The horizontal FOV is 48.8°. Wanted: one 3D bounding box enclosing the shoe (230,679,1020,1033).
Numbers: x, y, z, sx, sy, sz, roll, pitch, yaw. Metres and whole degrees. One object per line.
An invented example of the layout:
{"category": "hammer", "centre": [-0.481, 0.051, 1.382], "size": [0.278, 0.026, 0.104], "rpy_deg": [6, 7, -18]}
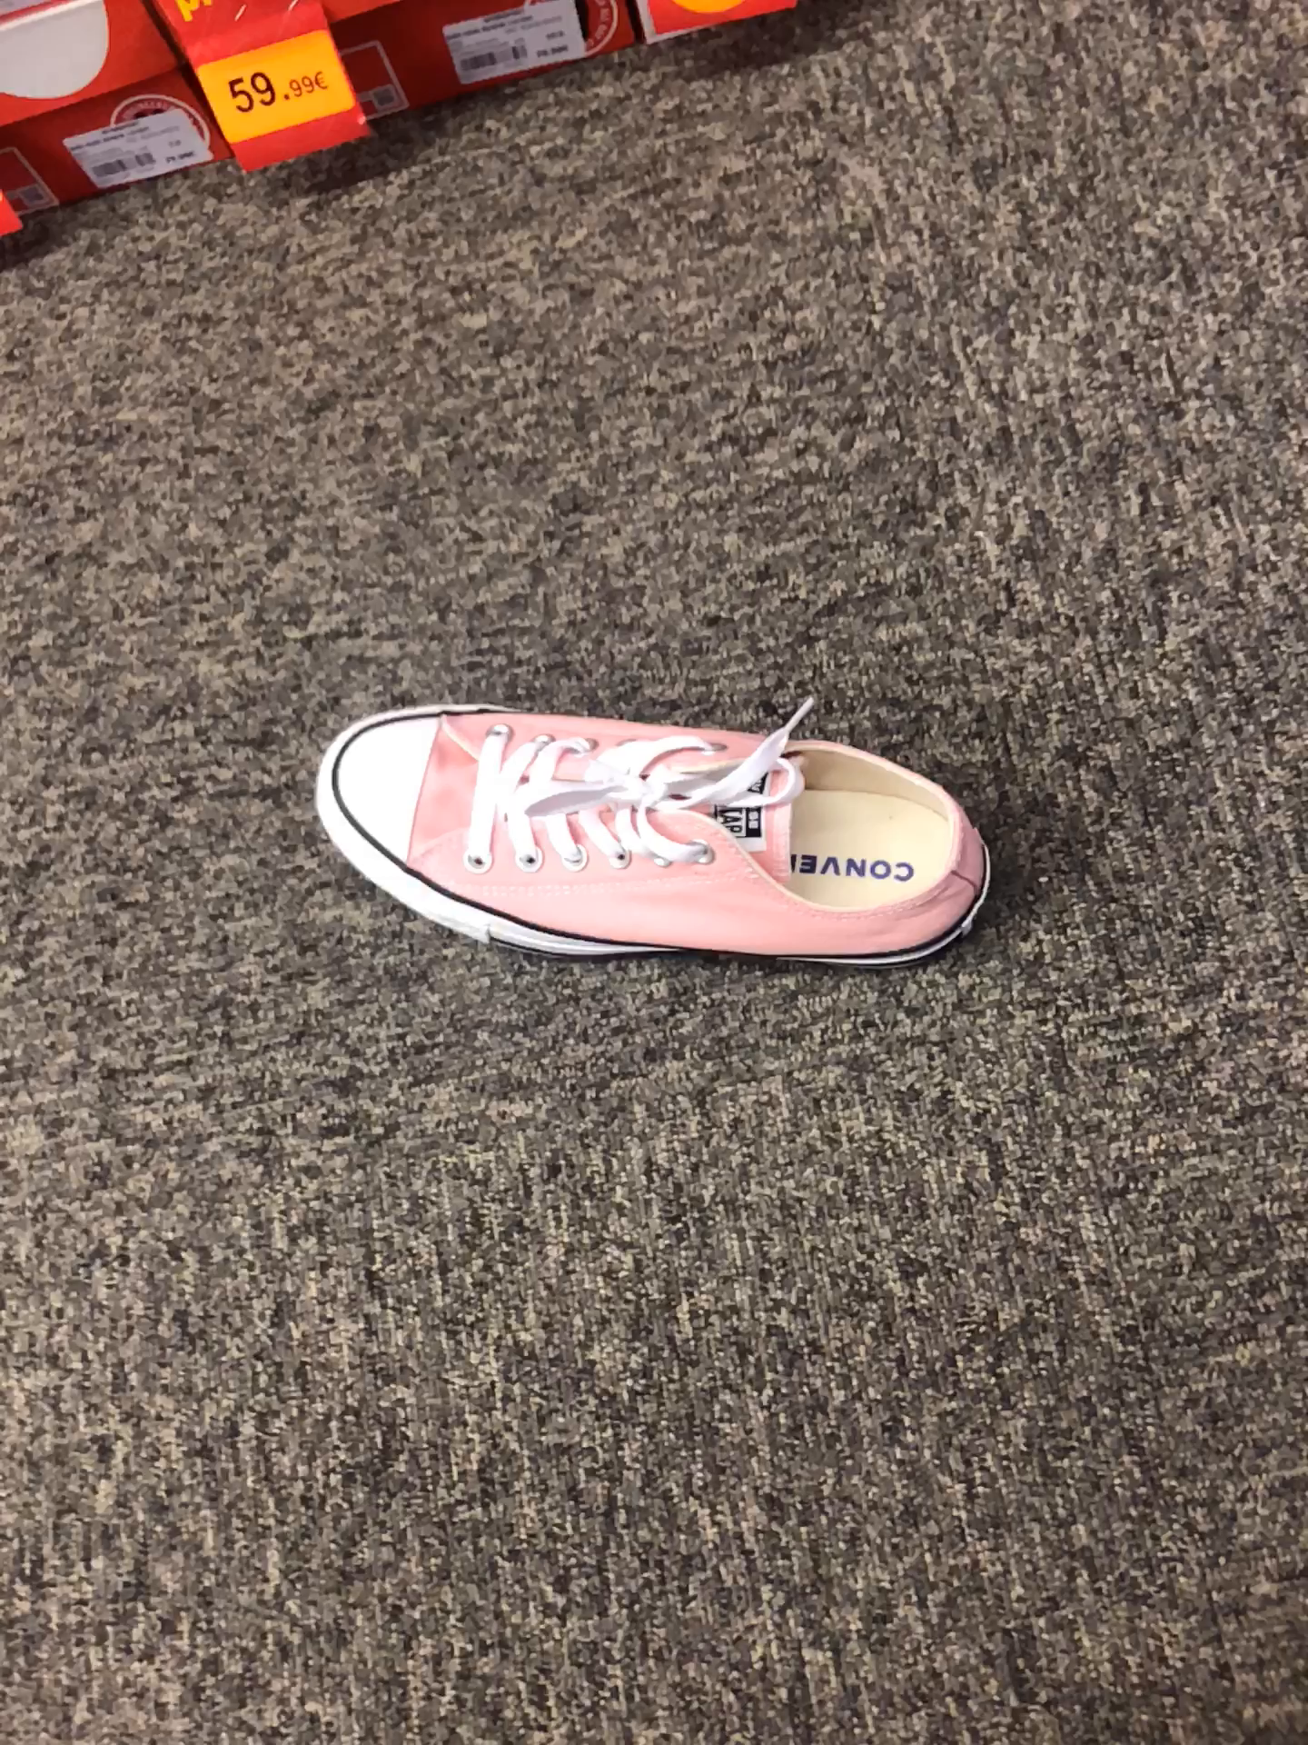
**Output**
{"category": "shoe", "centre": [-0.011, -0.010, 0.542], "size": [0.280, 0.060, 0.100], "rpy_deg": [5, 75, 18]}
